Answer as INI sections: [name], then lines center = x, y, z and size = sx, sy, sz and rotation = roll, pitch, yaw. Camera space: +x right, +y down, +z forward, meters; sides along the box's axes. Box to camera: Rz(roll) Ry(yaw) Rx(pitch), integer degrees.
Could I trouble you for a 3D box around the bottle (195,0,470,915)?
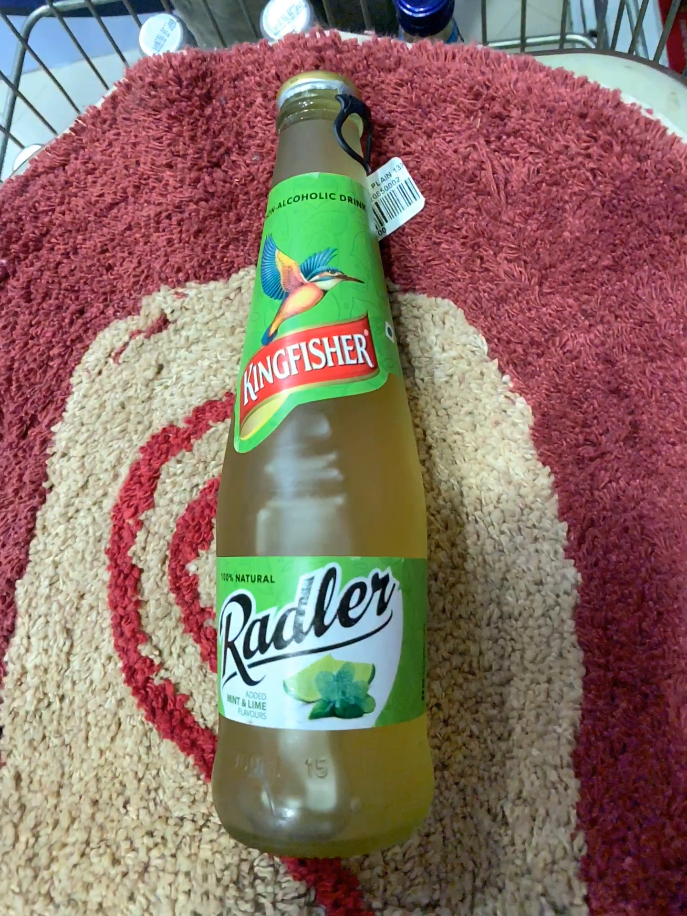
[bottle]
center = 0.001, -0.014, 0.208
size = 0.060, 0.060, 0.240
rotation = -3, 80, 13
